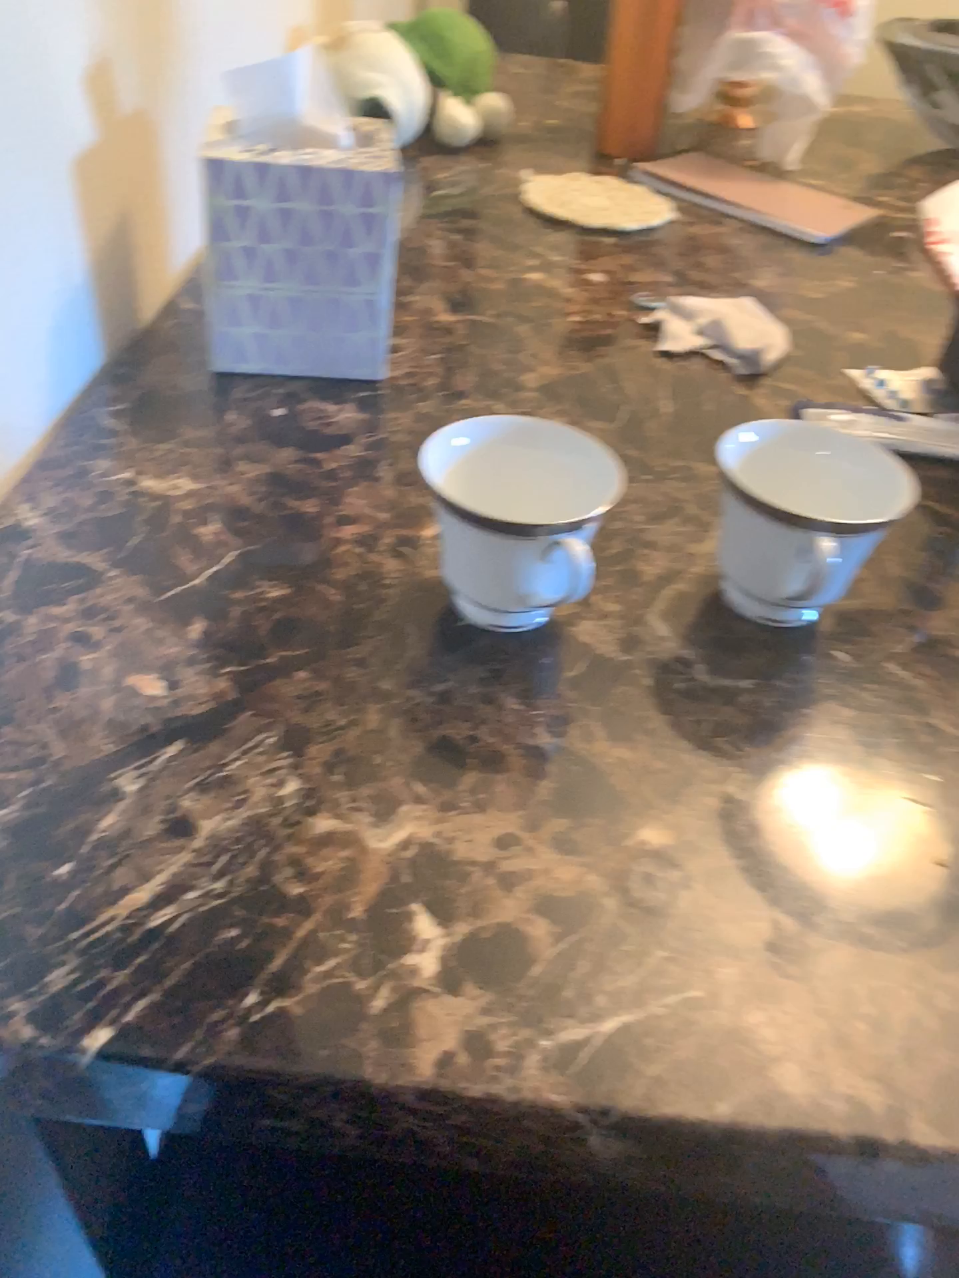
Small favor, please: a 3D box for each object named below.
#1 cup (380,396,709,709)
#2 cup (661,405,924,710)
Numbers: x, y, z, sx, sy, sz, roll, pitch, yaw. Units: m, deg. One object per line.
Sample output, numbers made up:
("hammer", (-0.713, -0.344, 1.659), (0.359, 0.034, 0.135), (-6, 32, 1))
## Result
("cup", (0.022, -0.043, 0.432), (0.090, 0.070, 0.111), (-17, 46, -26))
("cup", (0.145, -0.043, 0.463), (0.090, 0.070, 0.121), (15, 41, 8))
